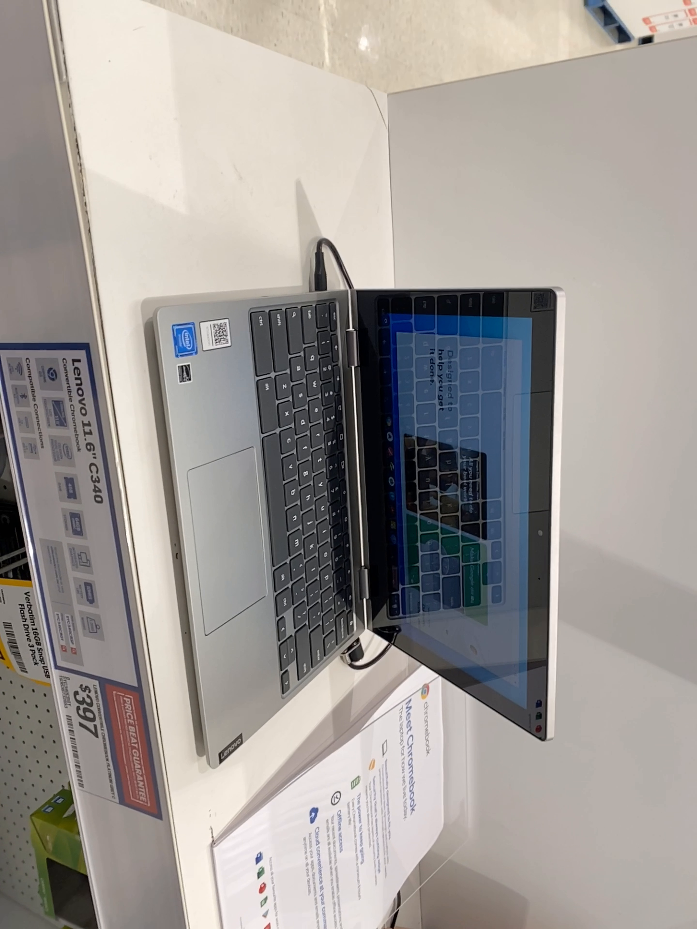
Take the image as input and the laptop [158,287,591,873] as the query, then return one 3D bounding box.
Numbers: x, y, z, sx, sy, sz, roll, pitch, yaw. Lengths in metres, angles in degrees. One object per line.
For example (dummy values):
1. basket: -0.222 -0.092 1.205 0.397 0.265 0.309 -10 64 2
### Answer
1. laptop: 0.034 0.040 0.458 0.201 0.180 0.284 -26 117 -55
